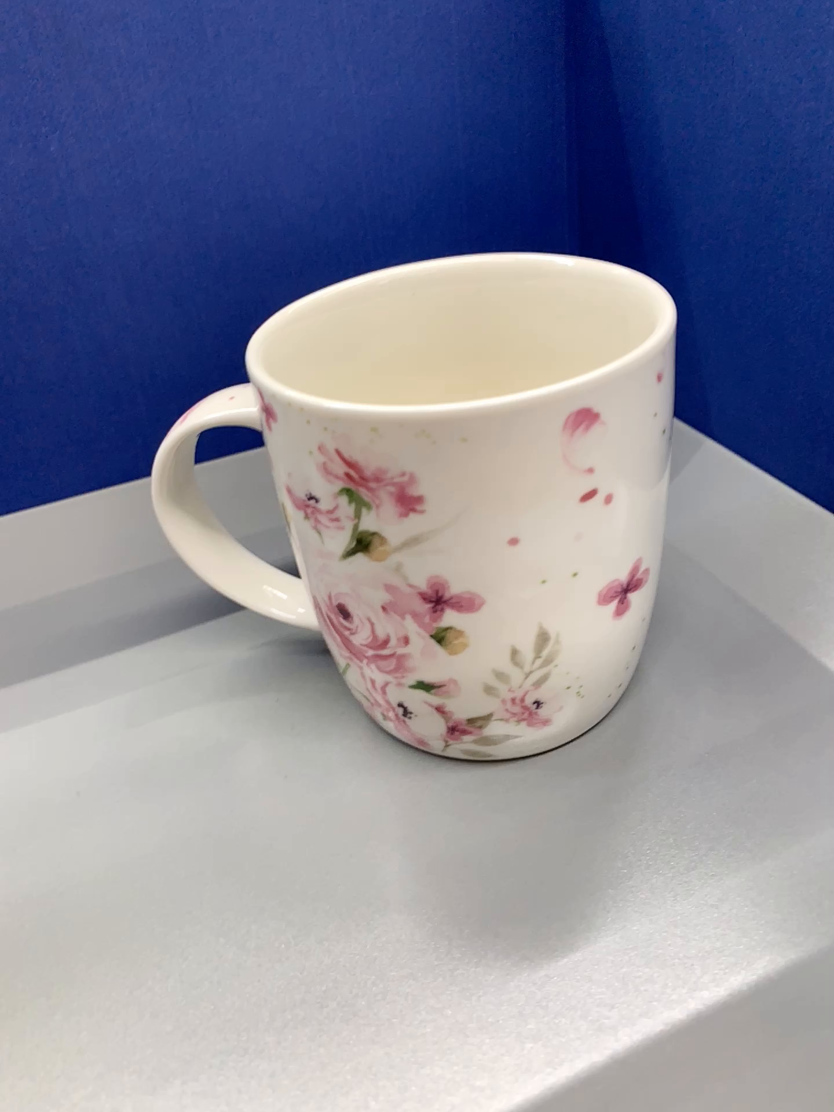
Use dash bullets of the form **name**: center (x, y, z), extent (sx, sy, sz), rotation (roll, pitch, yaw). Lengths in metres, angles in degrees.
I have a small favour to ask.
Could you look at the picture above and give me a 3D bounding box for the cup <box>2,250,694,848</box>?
- **cup**: center (-0.003, -0.011, 0.191), extent (0.110, 0.087, 0.085), rotation (6, 34, 20)
